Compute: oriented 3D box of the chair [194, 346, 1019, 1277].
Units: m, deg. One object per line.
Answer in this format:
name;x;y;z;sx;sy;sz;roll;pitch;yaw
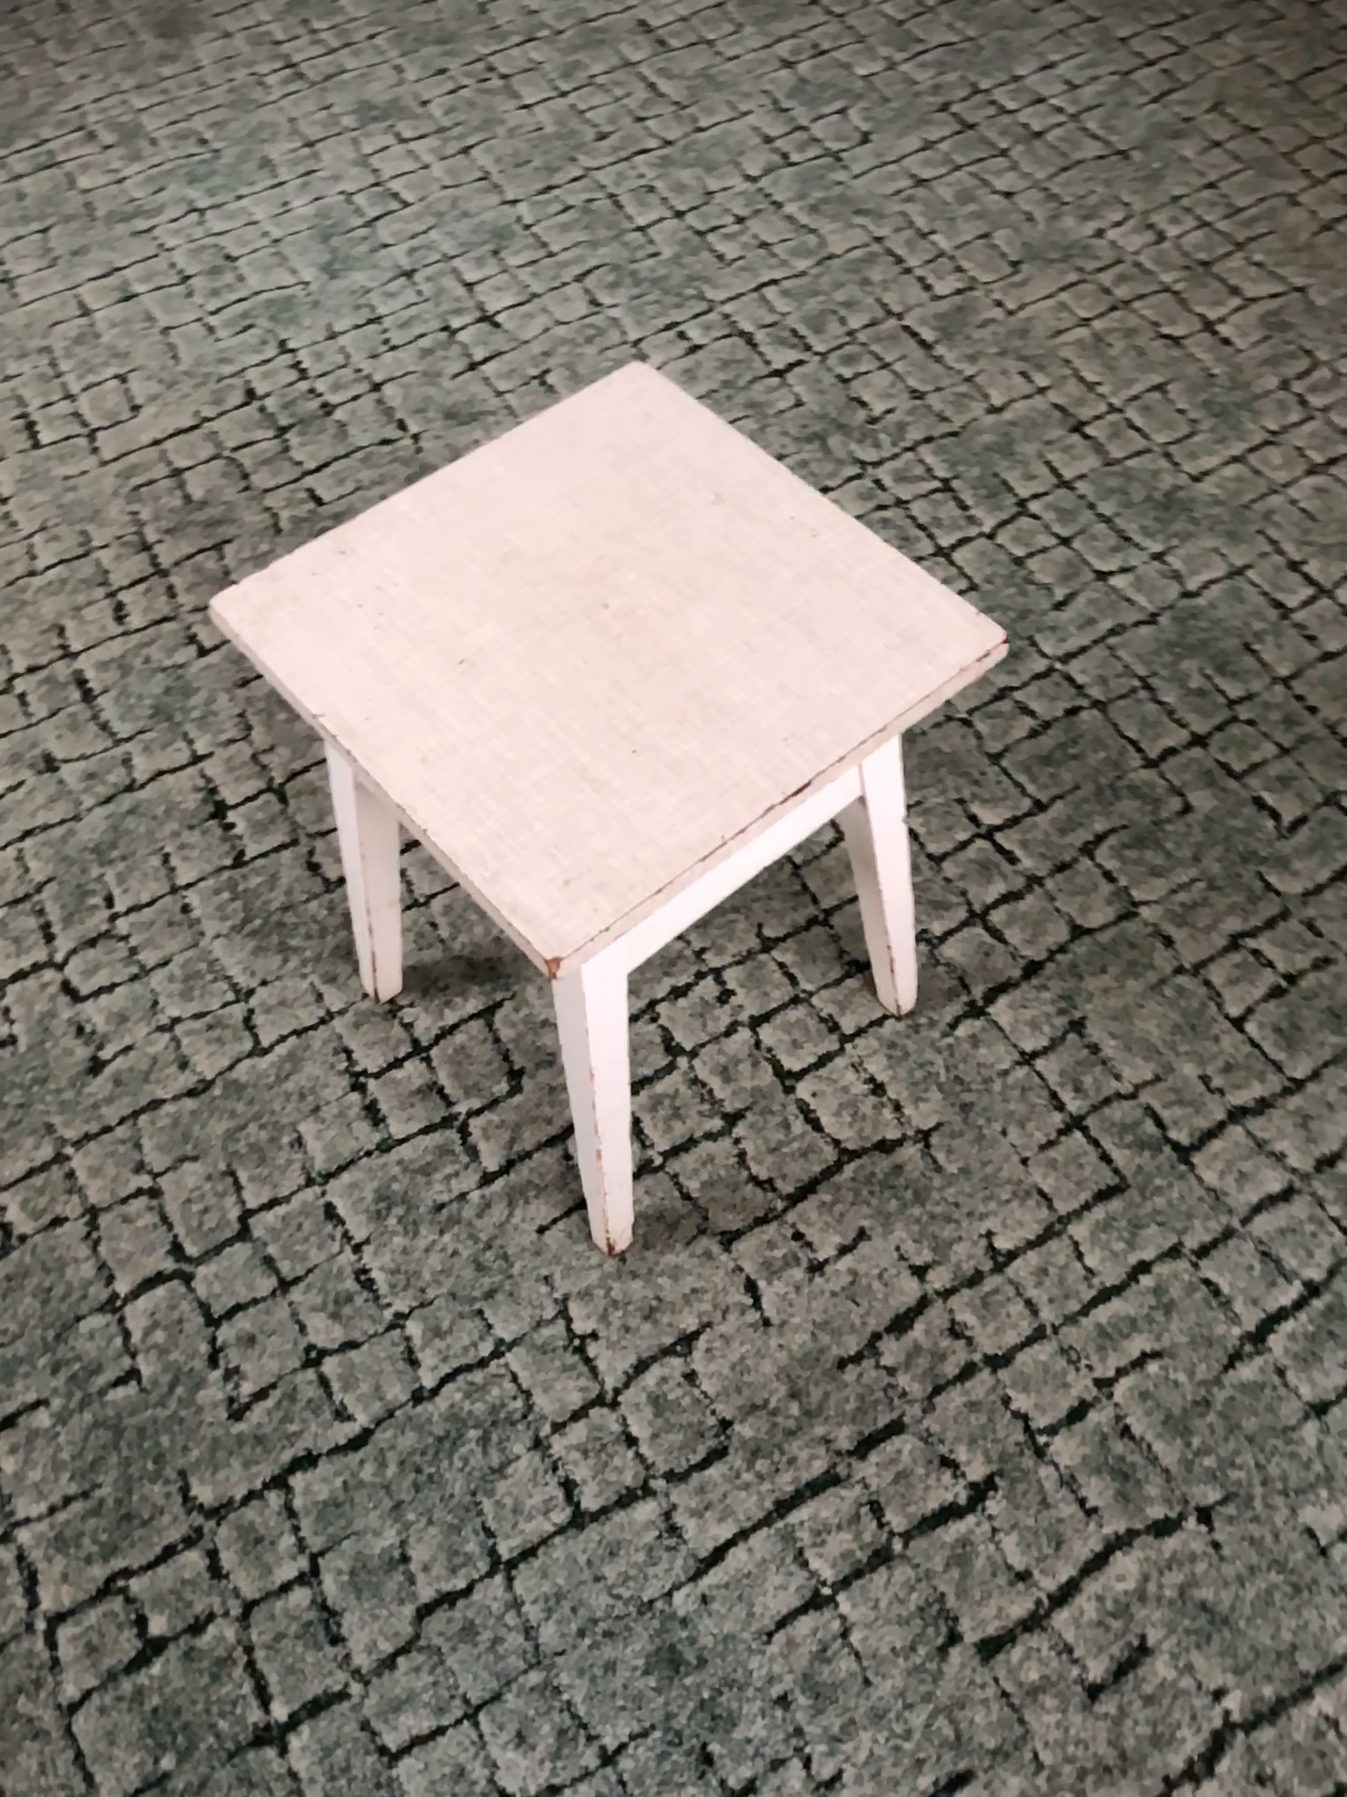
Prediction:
chair;-0.035;-0.041;1.021;0.333;0.447;0.335;-36;63;-19
